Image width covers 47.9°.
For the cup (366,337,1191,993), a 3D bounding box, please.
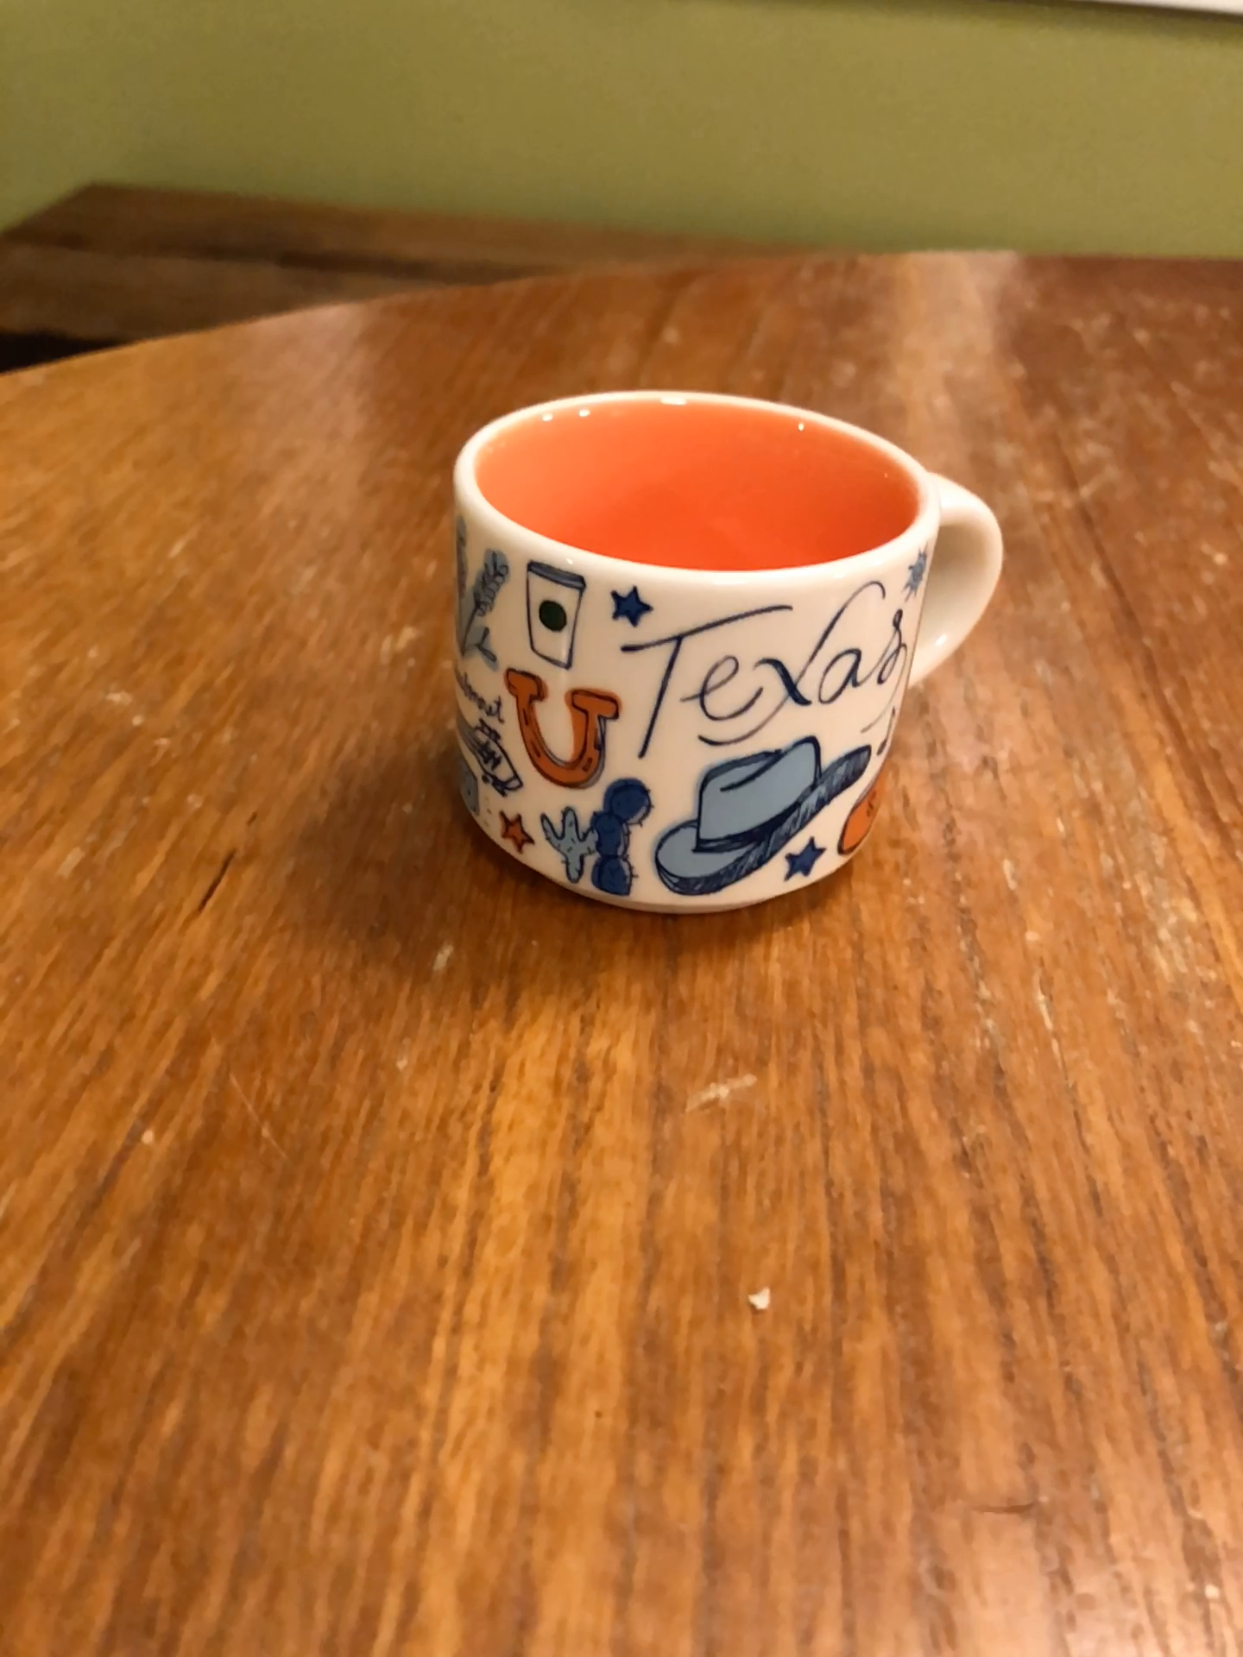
[{"bbox_3d":[0.016,-0.027,0.181,0.077,0.046,0.064,-16,40,-26],"label":"cup"}]
